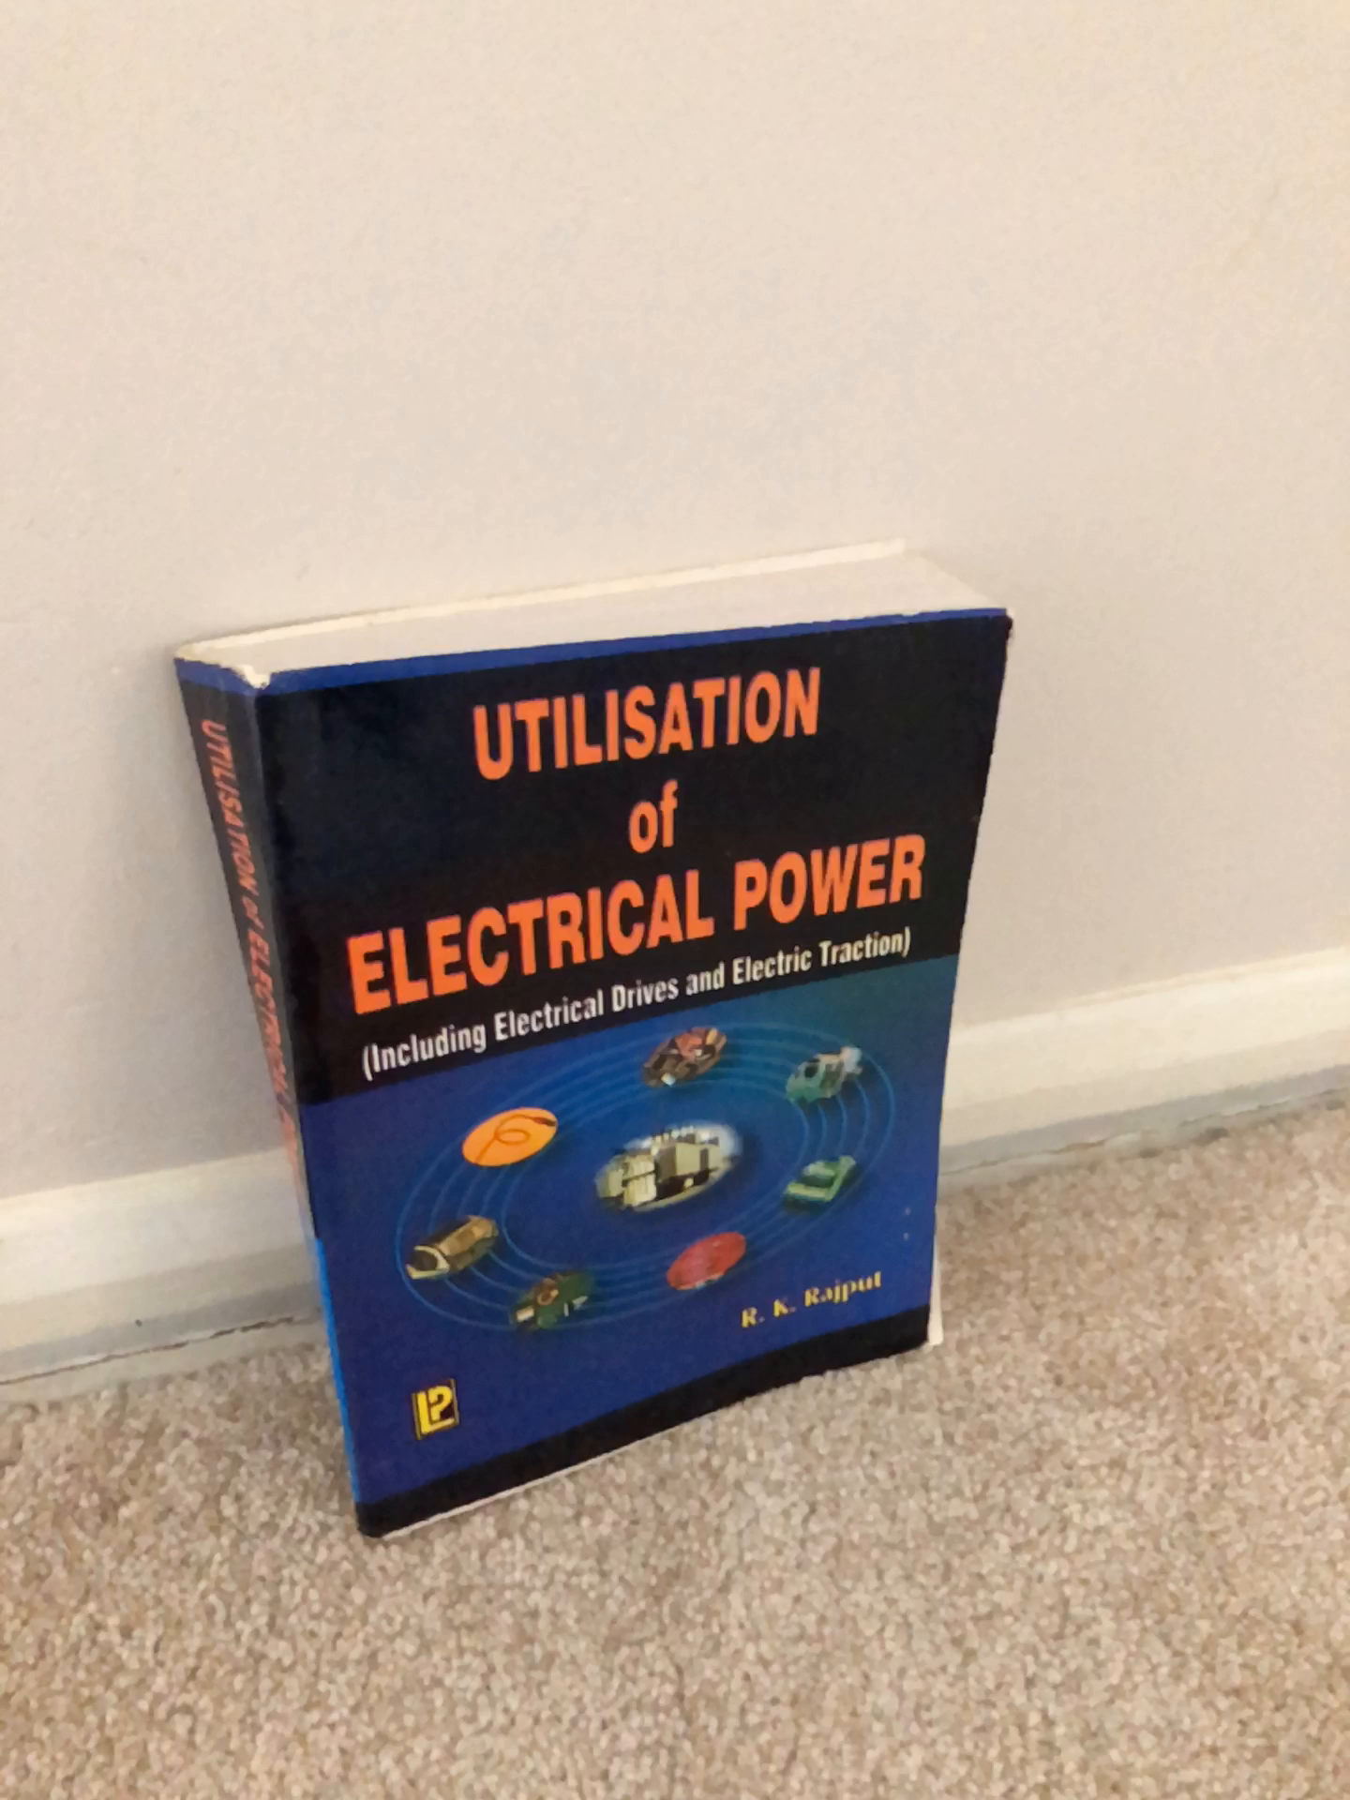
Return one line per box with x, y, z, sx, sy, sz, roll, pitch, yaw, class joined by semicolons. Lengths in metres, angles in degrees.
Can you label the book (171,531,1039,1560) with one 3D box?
-0.008;0.036;0.388;0.190;0.229;0.050;-13;28;-20;book
